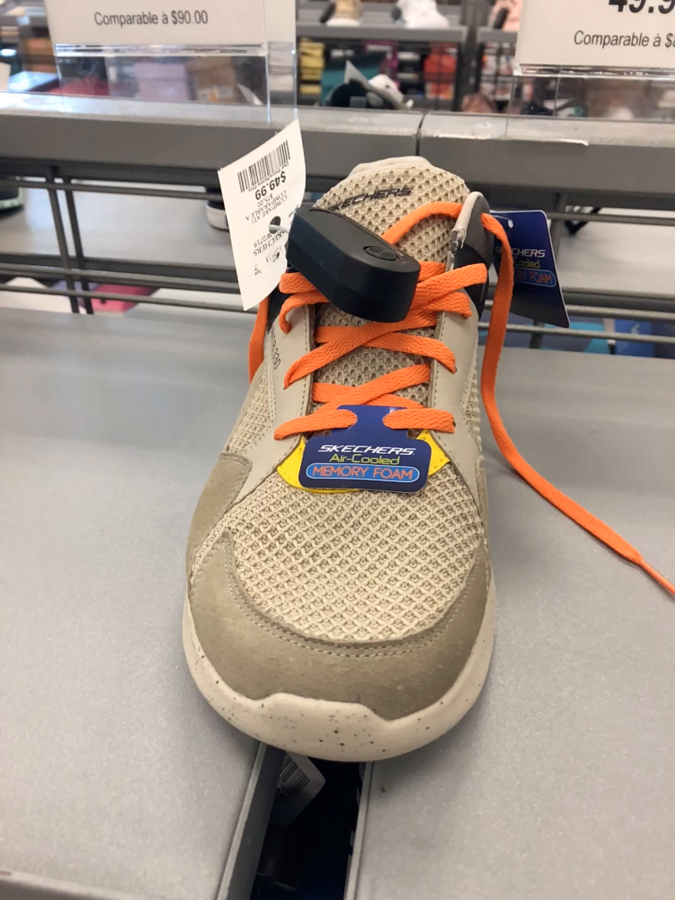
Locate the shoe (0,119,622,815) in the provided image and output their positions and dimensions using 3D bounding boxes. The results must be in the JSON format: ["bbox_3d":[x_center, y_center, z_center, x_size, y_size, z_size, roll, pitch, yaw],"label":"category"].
[{"bbox_3d":[0.005,-0.032,0.291,0.125,0.109,0.282,4,38,4],"label":"shoe"}]
